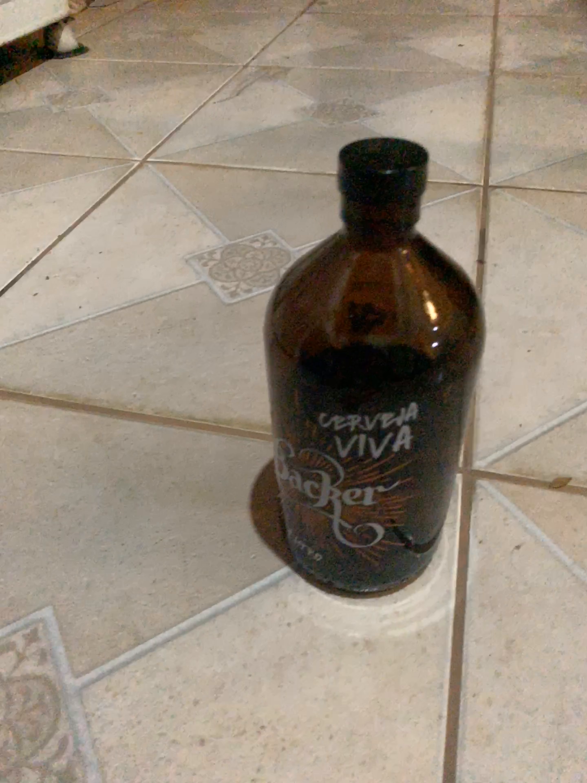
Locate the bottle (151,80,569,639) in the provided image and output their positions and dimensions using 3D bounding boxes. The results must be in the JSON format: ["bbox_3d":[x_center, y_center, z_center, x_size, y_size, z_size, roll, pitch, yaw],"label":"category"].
[{"bbox_3d":[0.025,-0.004,0.266,0.090,0.209,0.100,-33,50,-27],"label":"bottle"}]
